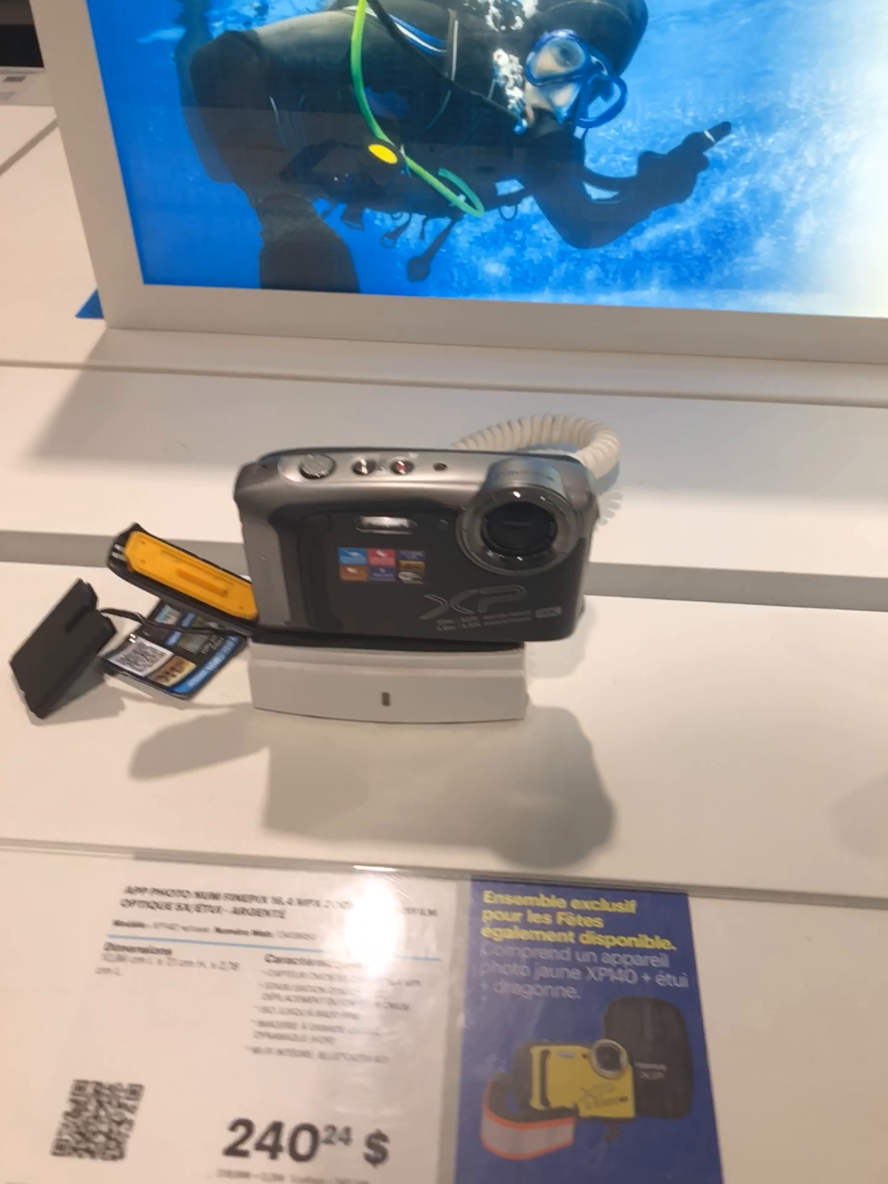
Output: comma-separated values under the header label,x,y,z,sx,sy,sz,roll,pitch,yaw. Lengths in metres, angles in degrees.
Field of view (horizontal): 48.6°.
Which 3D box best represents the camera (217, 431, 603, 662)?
label,x,y,z,sx,sy,sz,roll,pitch,yaw
camera,-0.009,-0.012,0.301,0.106,0.069,0.023,1,41,1
